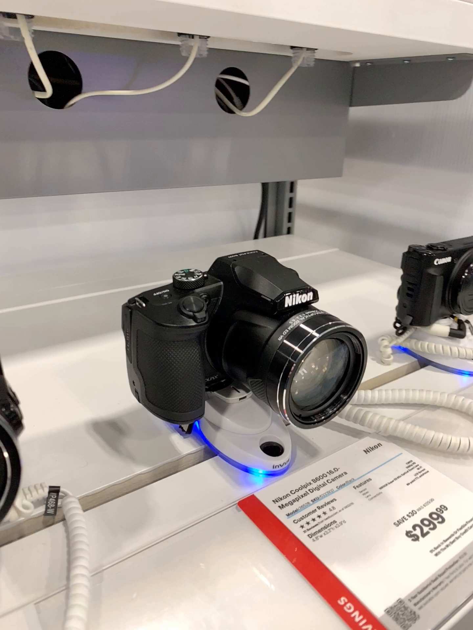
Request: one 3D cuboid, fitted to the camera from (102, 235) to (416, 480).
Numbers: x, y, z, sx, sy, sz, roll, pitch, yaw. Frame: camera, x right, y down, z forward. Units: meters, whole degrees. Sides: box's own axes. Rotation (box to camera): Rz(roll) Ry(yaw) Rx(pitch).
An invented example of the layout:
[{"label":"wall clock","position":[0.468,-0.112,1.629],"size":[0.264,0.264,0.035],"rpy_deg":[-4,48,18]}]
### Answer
[{"label":"camera","position":[0.011,0.008,0.277],"size":[0.130,0.070,0.110],"rpy_deg":[-16,28,-35]}]
